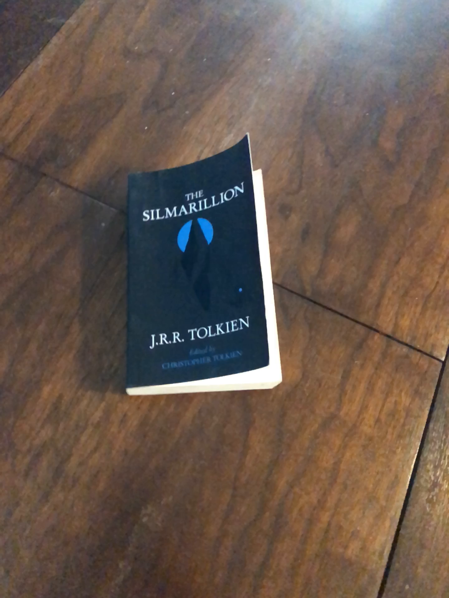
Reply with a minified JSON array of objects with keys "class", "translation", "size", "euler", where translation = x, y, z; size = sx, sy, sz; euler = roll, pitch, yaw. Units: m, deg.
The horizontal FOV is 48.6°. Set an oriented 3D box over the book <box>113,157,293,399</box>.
[{"class":"book","translation":[-0.022,-0.021,0.379],"size":[0.119,0.040,0.180],"euler":[-2,69,-8]}]
